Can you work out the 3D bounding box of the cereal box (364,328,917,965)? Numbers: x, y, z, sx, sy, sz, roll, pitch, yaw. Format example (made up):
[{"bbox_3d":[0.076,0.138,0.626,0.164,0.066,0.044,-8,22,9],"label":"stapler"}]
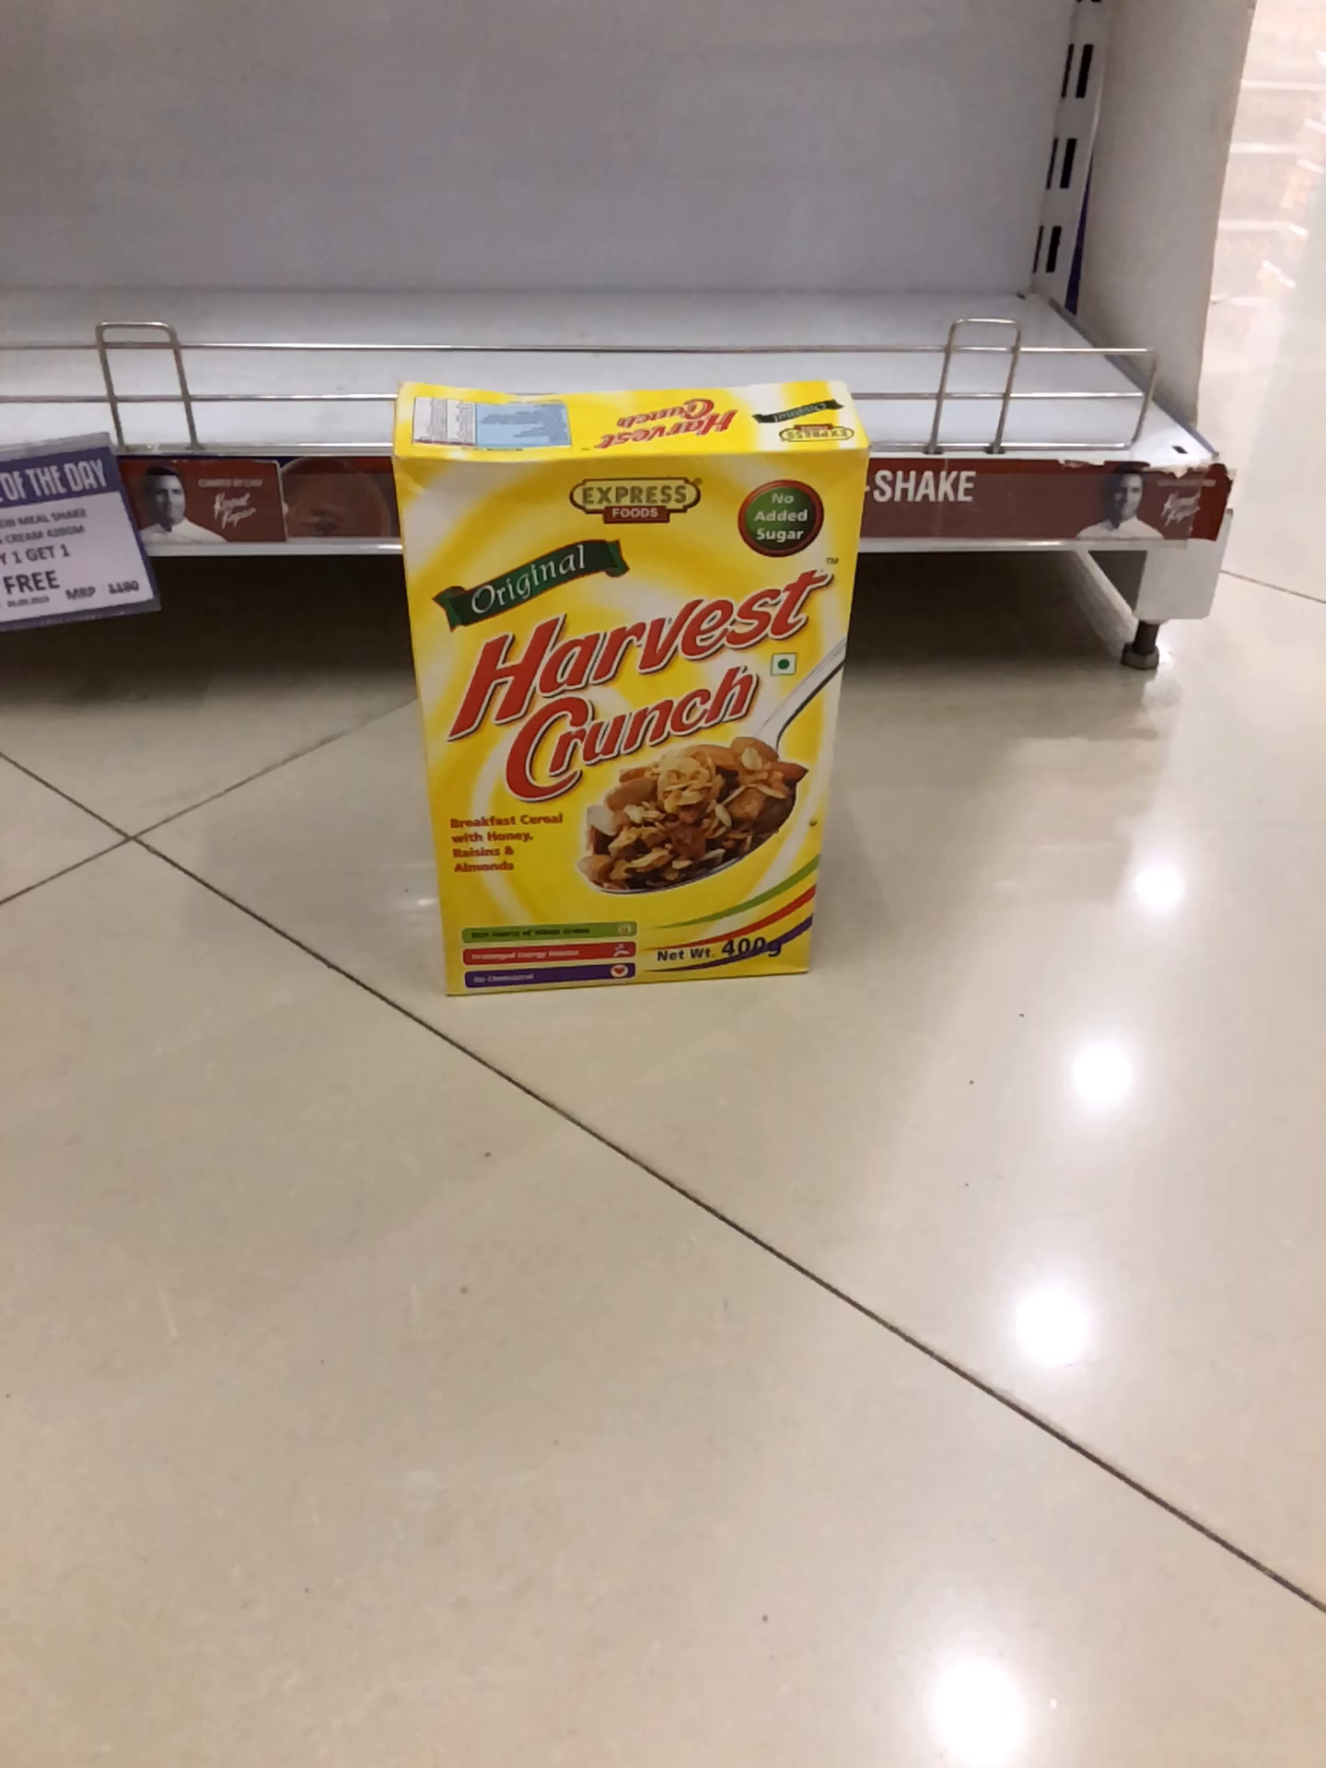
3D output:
[{"bbox_3d":[-0.010,-0.075,0.503,0.160,0.209,0.050,-4,37,-8],"label":"cereal box"}]
